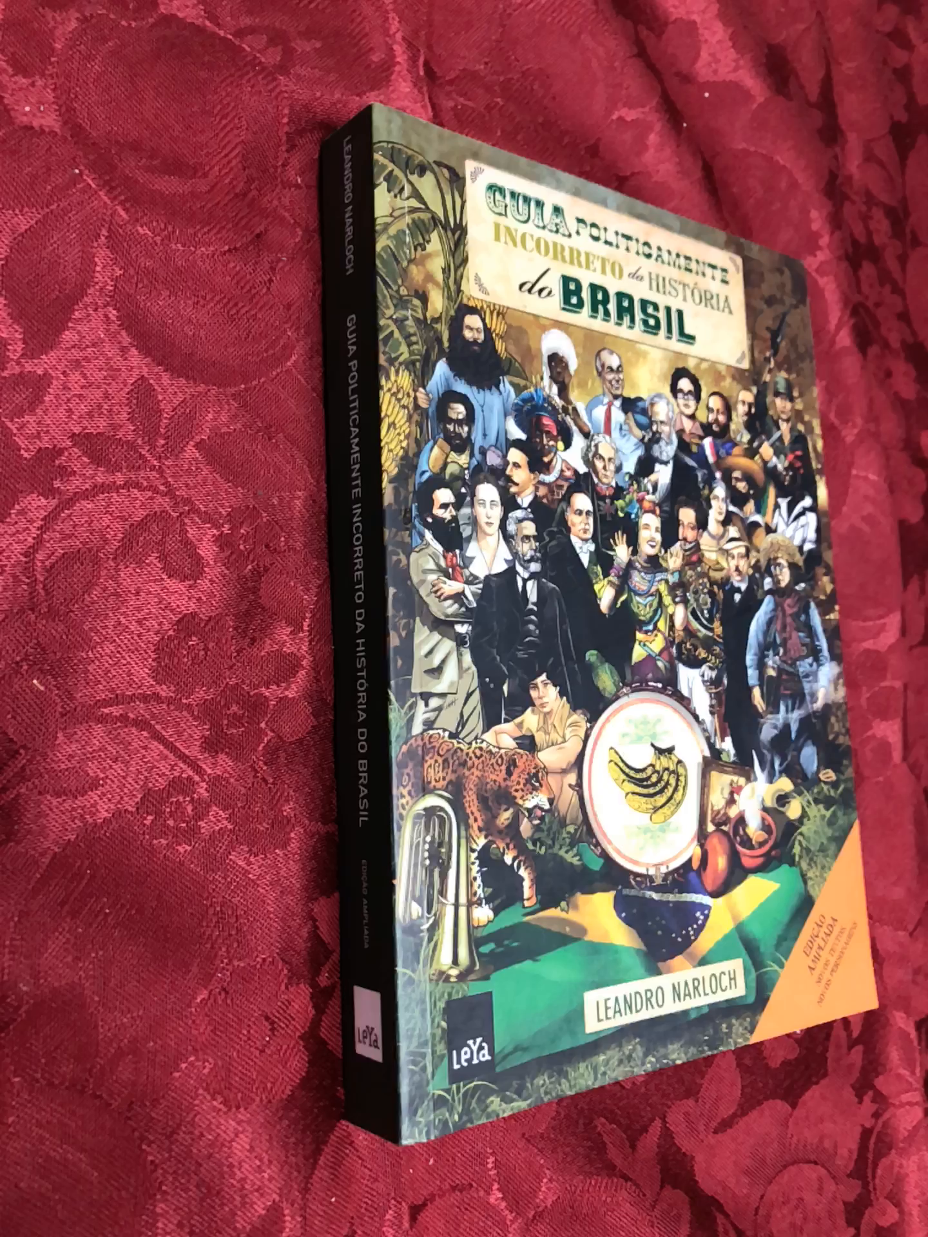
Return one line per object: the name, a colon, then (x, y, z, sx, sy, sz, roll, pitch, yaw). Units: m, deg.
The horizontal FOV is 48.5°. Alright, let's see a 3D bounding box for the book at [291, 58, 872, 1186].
book: (0.038, -0.002, 0.268, 0.161, 0.030, 0.230, 1, 85, -35)
